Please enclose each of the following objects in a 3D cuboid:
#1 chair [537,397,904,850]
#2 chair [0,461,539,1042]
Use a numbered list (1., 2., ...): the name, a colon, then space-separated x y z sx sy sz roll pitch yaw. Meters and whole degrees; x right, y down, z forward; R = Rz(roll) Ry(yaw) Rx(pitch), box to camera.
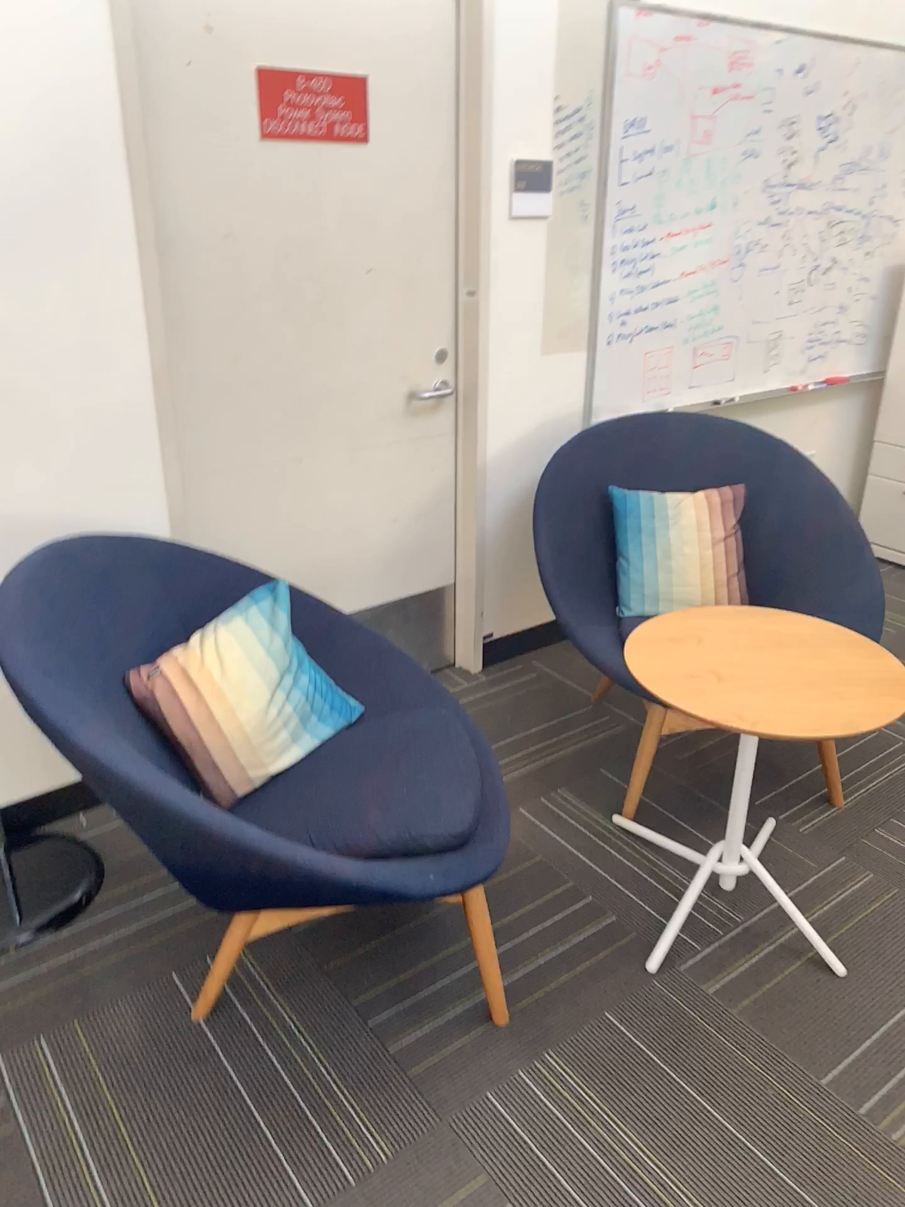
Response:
1. chair: 0.689 -0.013 2.663 0.830 0.945 0.985 2 24 3
2. chair: -0.293 0.233 1.854 0.840 0.835 0.794 1 24 1
